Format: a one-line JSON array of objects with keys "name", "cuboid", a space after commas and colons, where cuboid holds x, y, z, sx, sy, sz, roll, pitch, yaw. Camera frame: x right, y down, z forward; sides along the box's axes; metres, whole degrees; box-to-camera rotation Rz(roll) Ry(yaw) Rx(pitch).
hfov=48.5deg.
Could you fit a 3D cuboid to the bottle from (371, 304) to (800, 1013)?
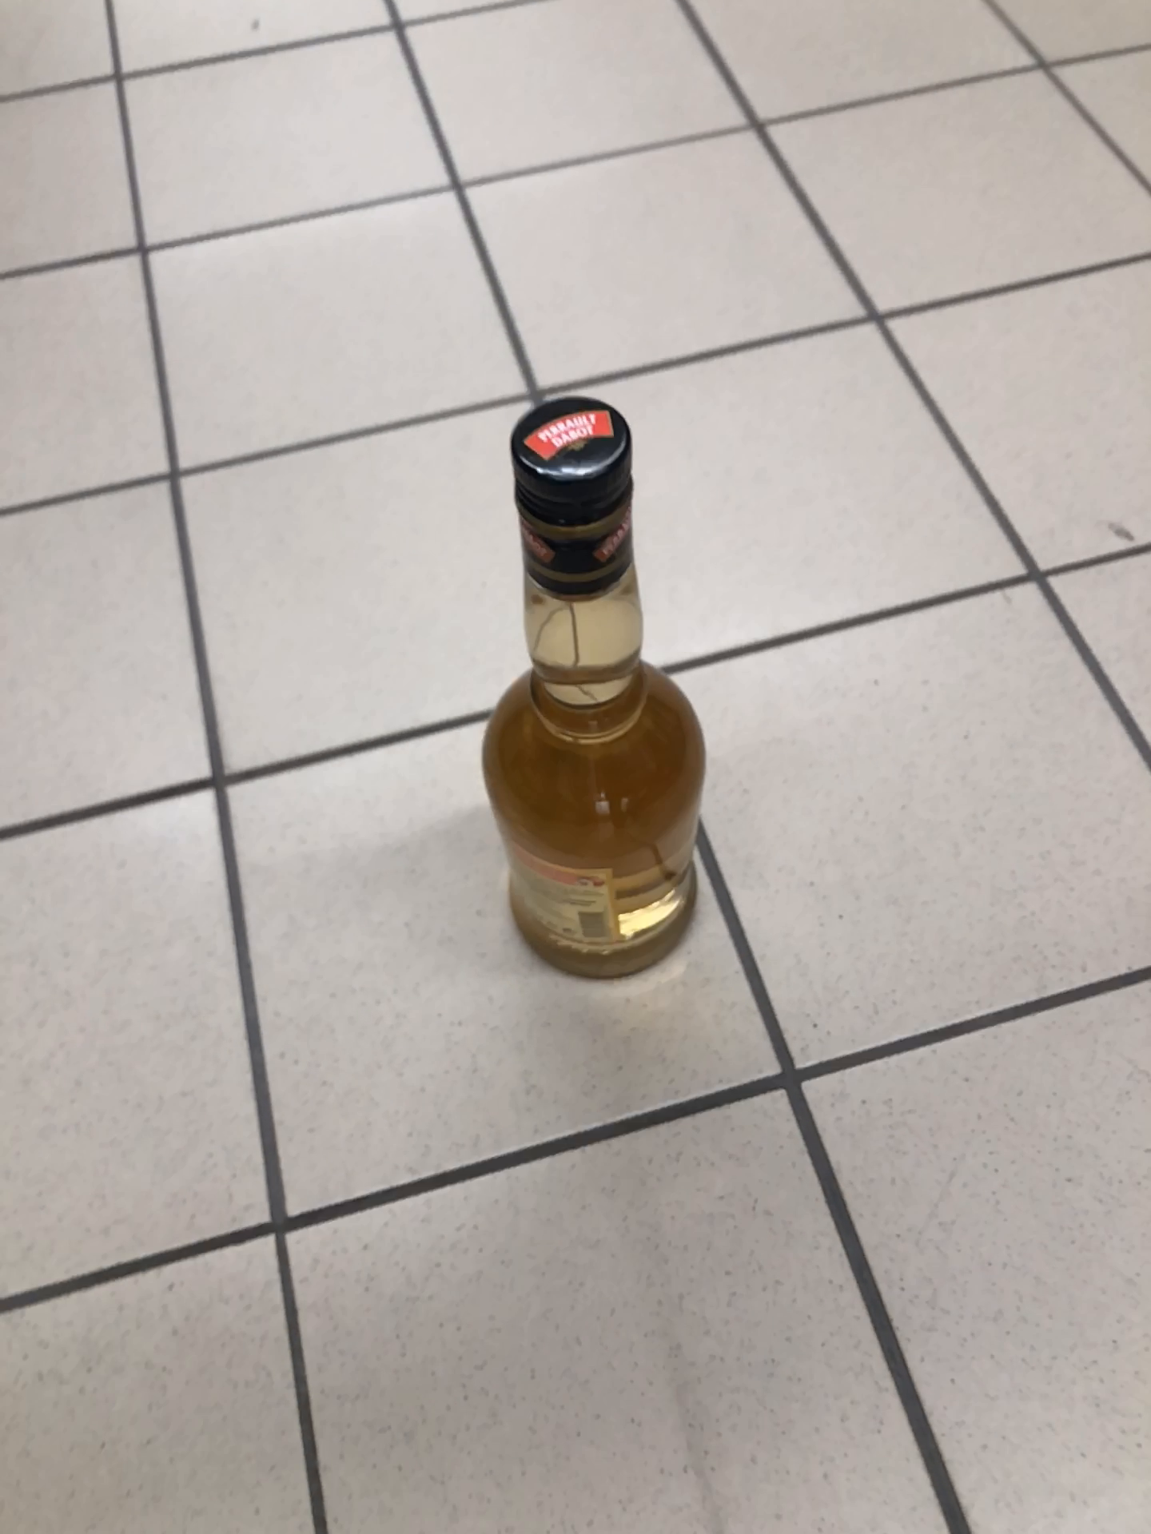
[{"name": "bottle", "cuboid": [0.009, -0.017, 0.435, 0.080, 0.249, 0.080, -1, 57, 2]}]
